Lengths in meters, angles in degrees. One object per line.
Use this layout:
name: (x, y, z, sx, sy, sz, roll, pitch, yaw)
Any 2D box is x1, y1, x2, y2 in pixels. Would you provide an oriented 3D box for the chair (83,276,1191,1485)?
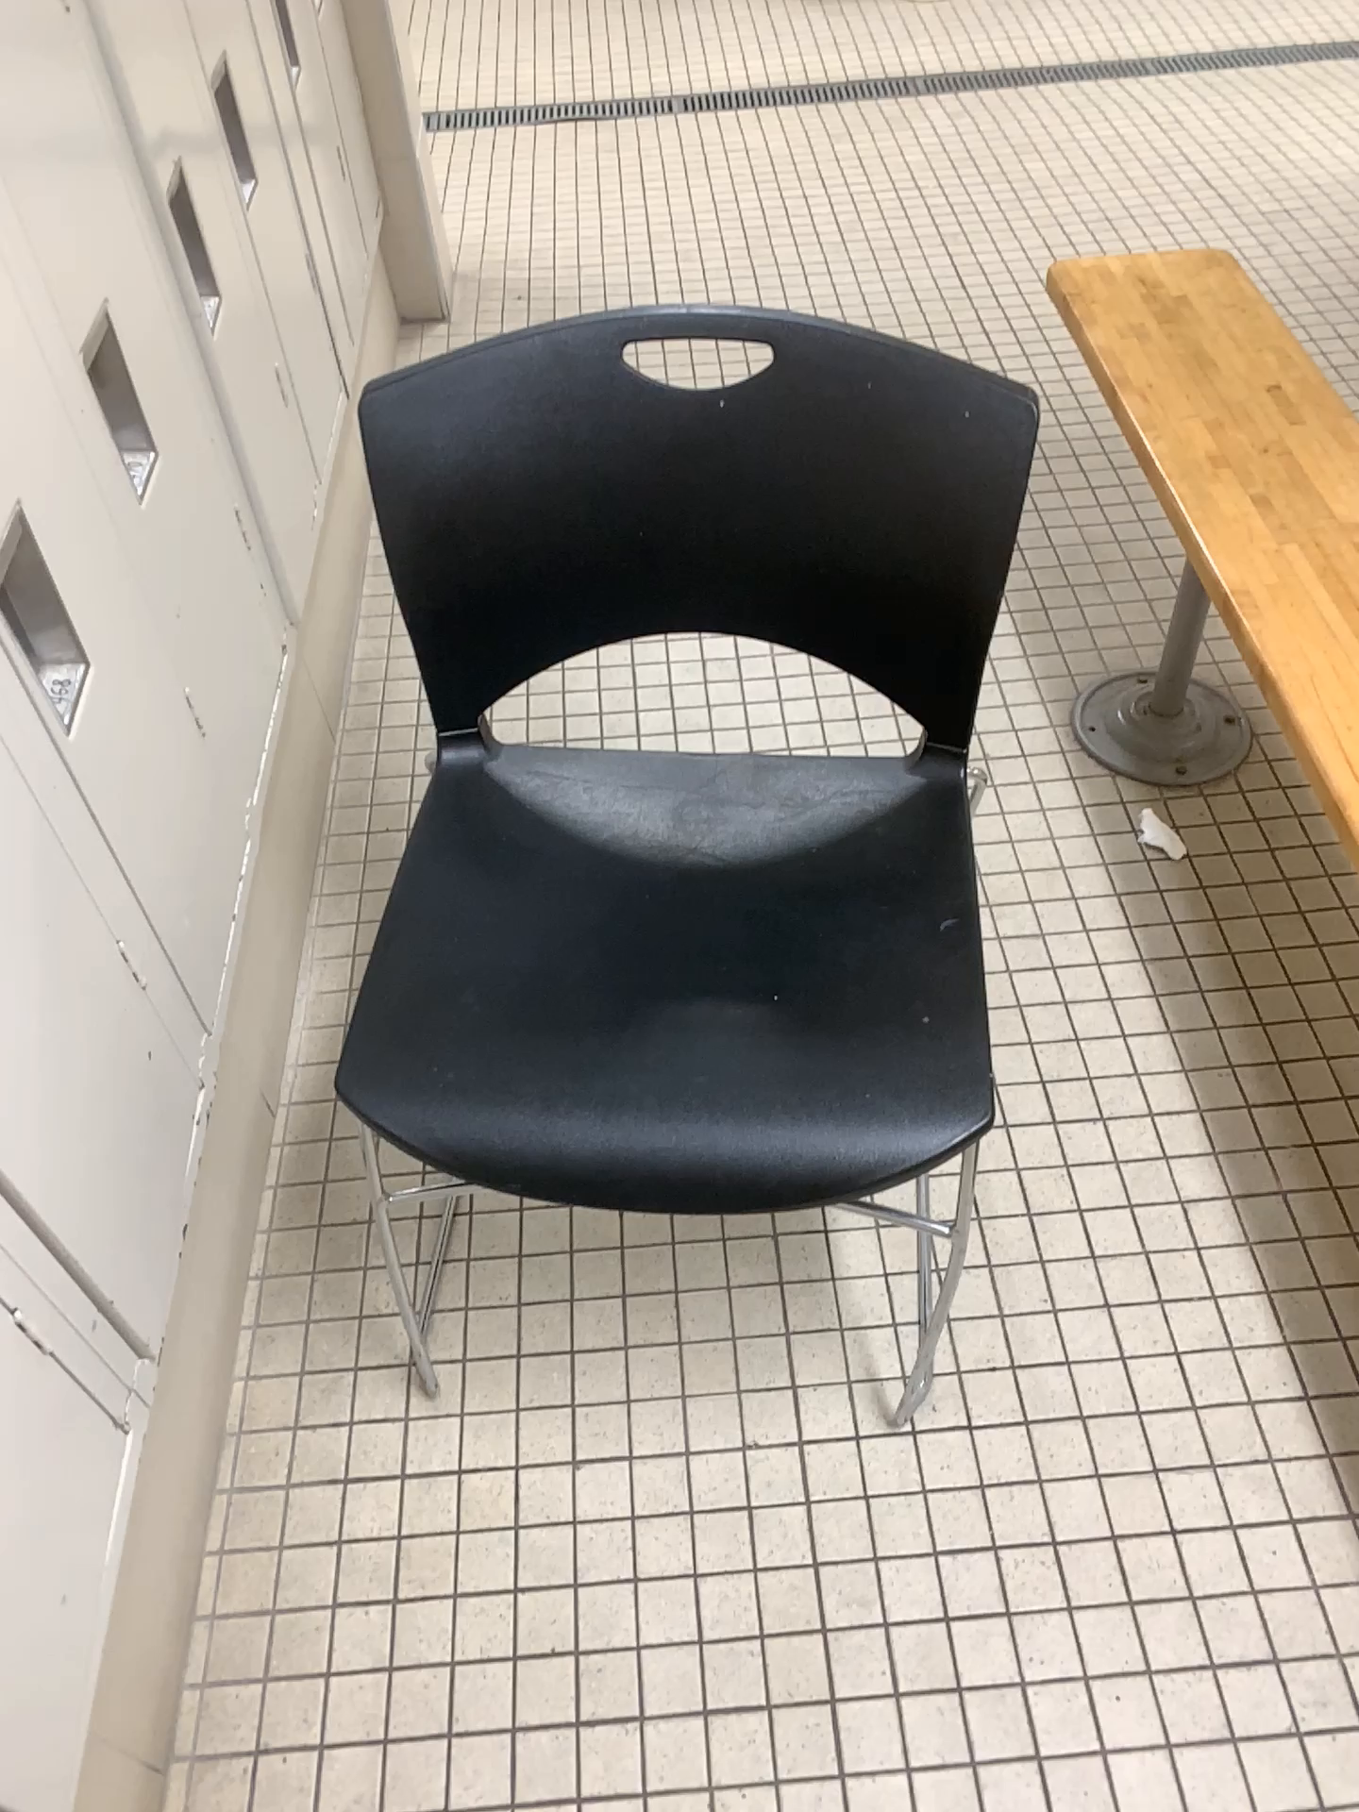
chair: (0.015, -0.016, 1.023, 0.475, 0.631, 0.615, 2, 48, 5)
